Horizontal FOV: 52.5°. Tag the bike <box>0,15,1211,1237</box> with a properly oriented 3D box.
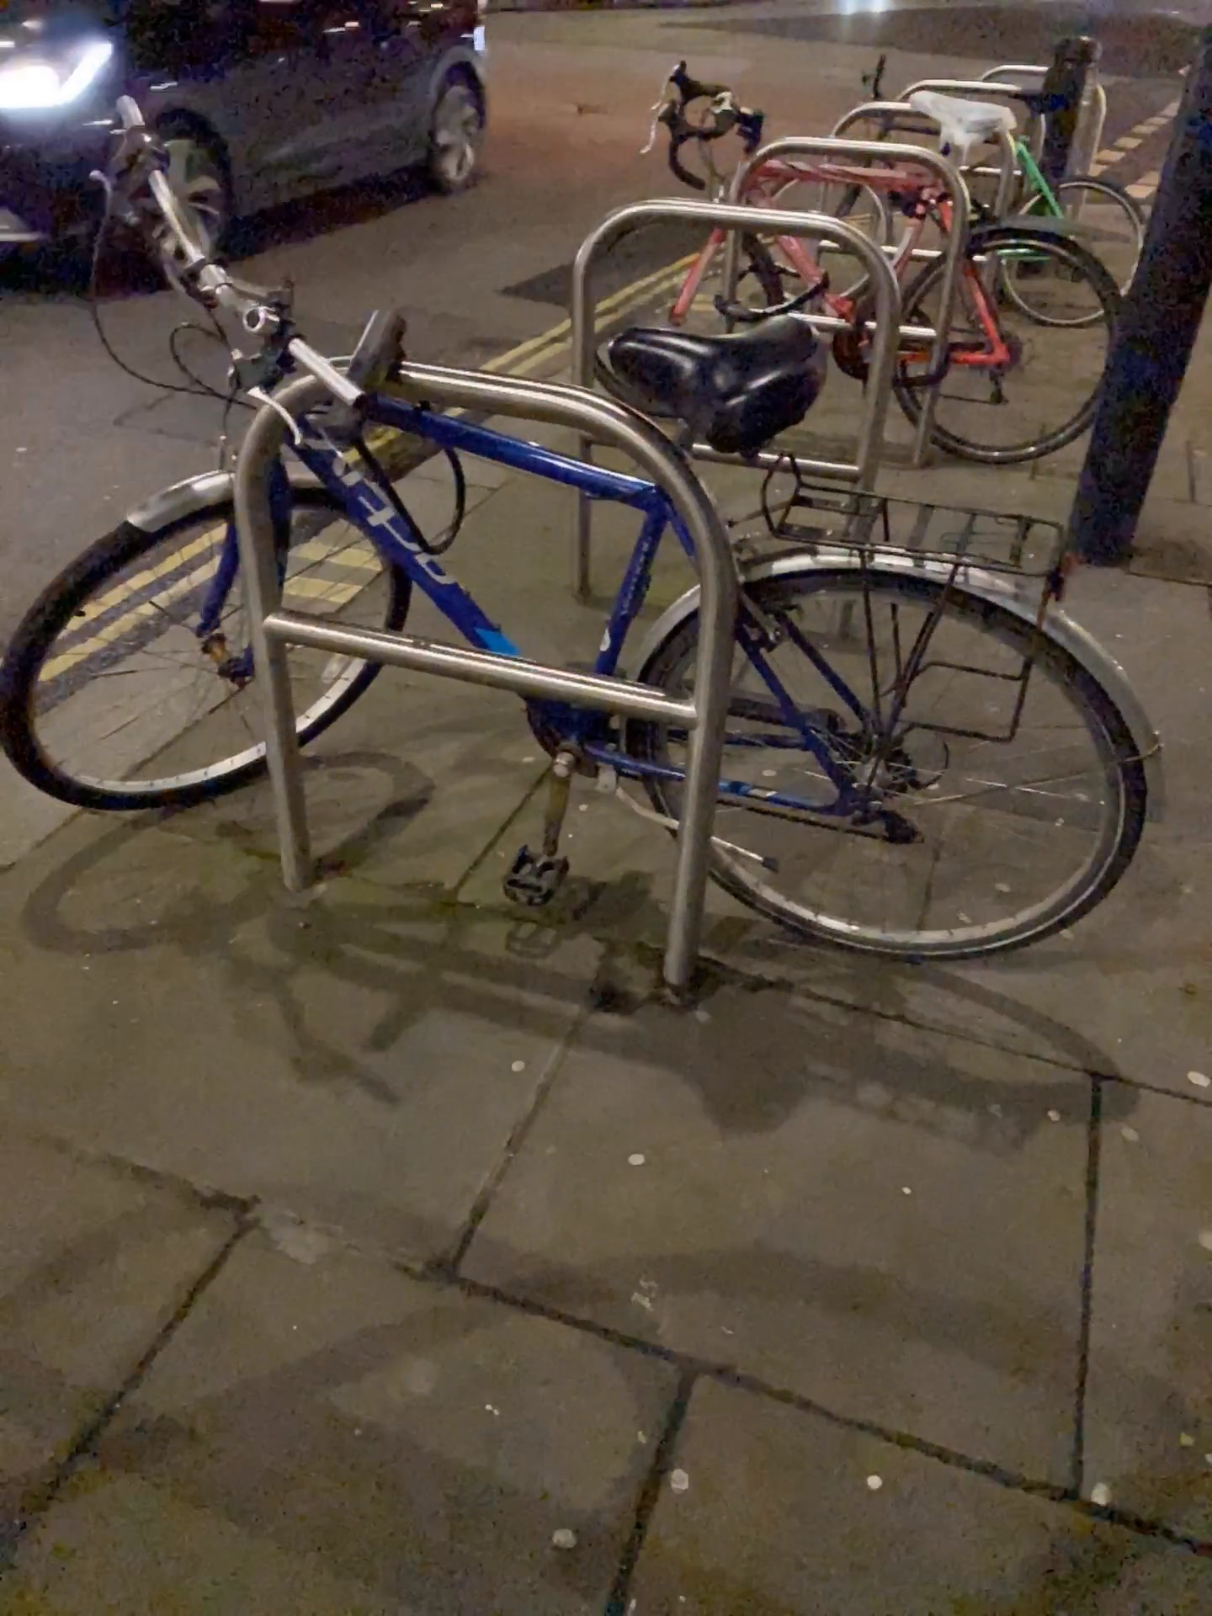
[{"bbox_3d":[-0.078,-0.247,1.570,1.594,1.108,0.659,10,36,7],"label":"bike"}]
